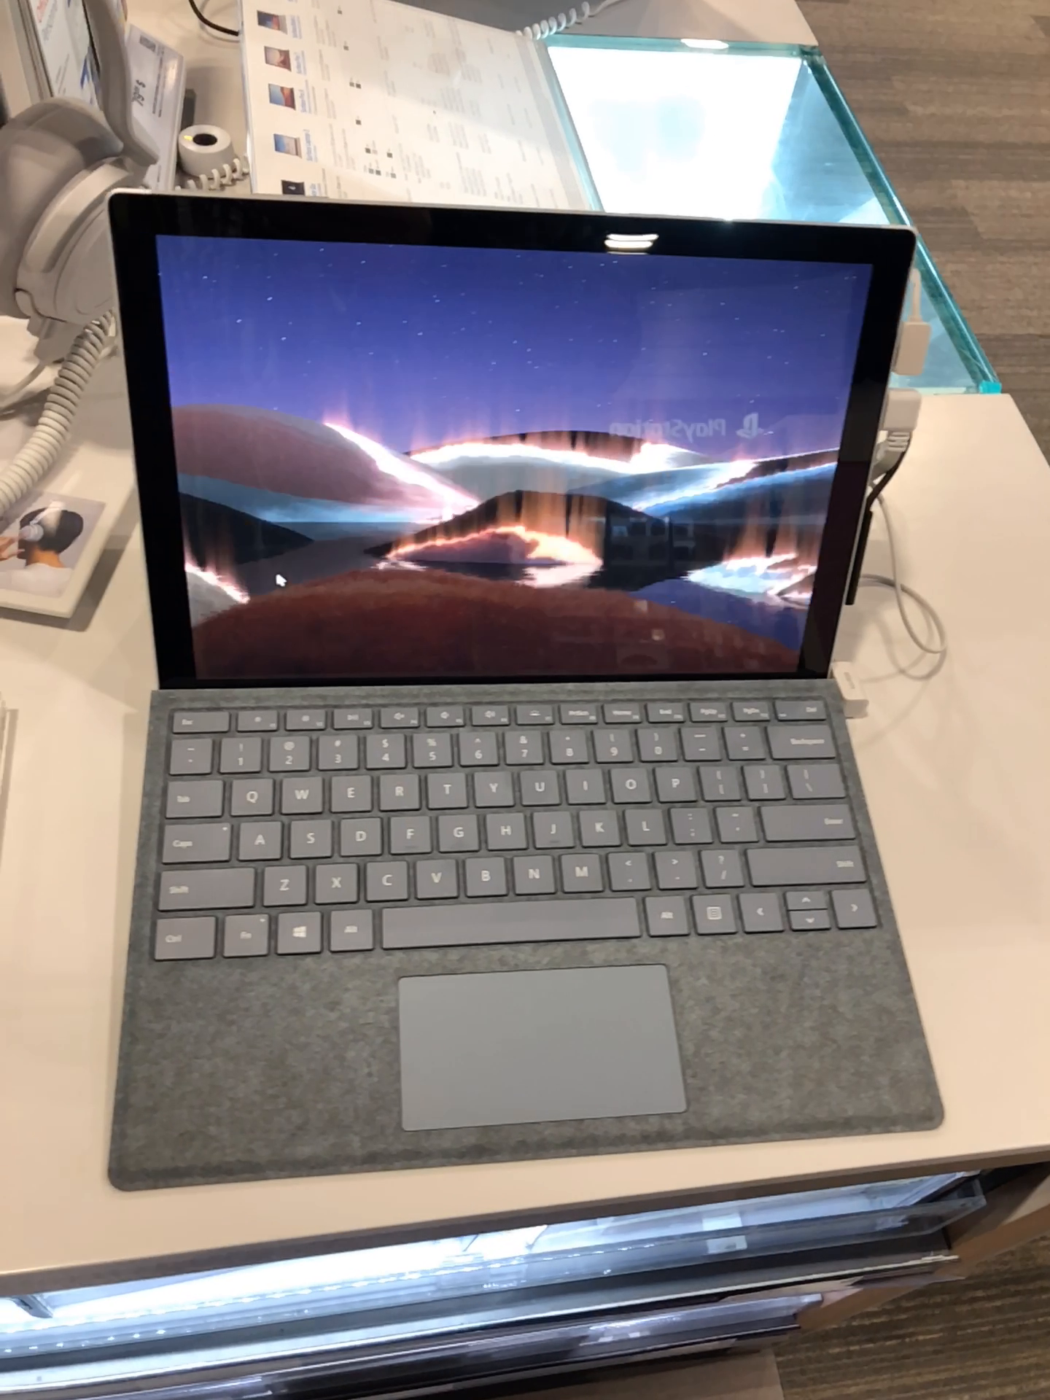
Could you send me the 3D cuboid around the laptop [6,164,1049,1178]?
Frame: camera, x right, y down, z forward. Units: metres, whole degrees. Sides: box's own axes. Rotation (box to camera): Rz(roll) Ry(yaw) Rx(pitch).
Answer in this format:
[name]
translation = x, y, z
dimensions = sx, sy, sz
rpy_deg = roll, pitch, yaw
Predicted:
[laptop]
translation = 0.002, -0.019, 0.396
dimensions = 0.261, 0.143, 0.284
rpy_deg = -1, 60, -5
